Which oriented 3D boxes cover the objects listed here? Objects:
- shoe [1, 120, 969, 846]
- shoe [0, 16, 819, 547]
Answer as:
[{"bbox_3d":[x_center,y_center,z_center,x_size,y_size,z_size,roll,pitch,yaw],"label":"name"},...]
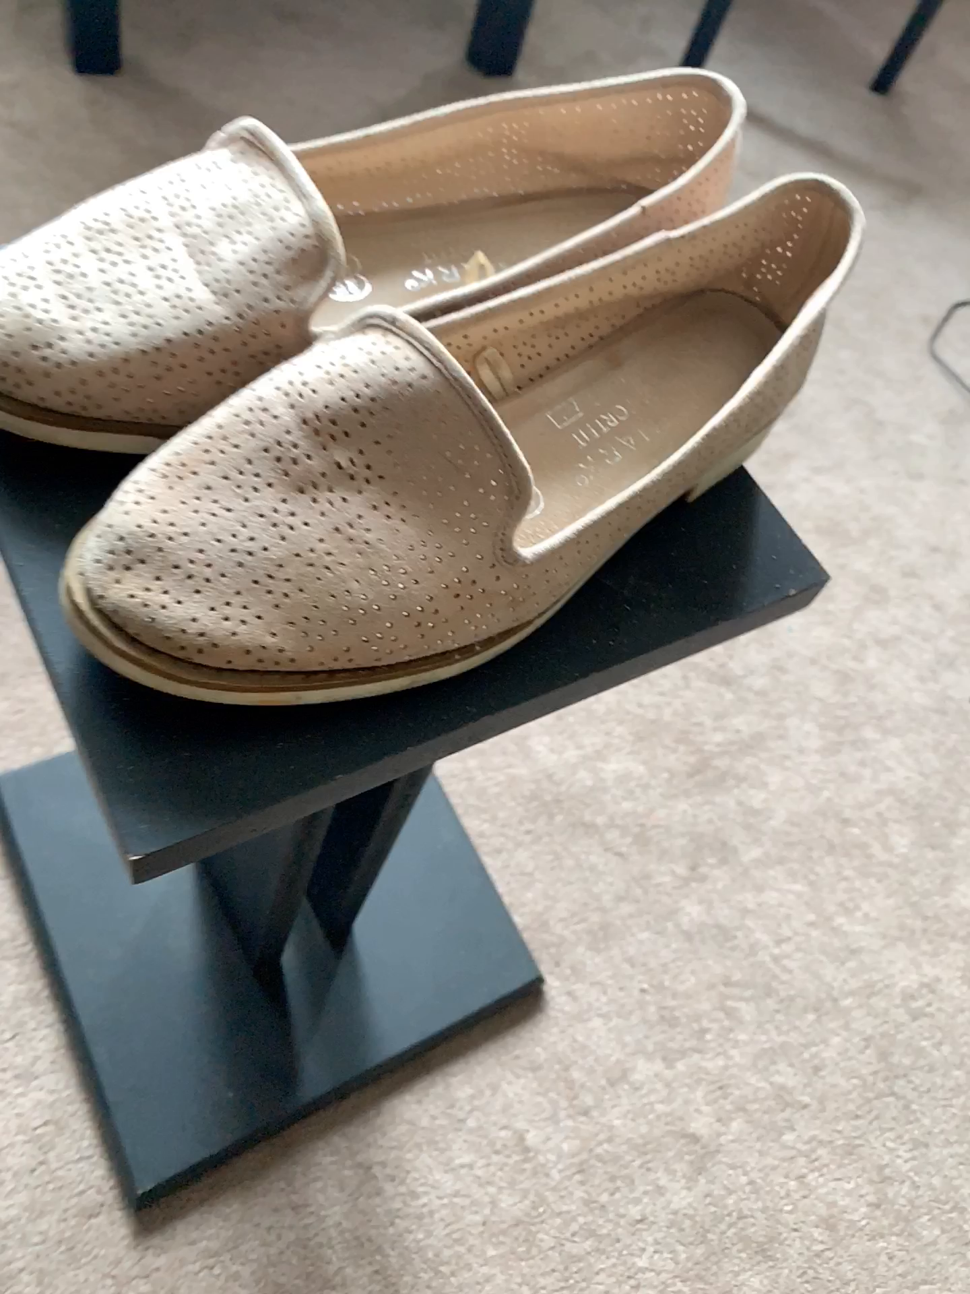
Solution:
[{"bbox_3d":[0.012,-0.055,0.291,0.251,0.080,0.080,-31,71,-20],"label":"shoe"},{"bbox_3d":[-0.030,-0.123,0.323,0.251,0.079,0.080,-20,66,-19],"label":"shoe"}]
